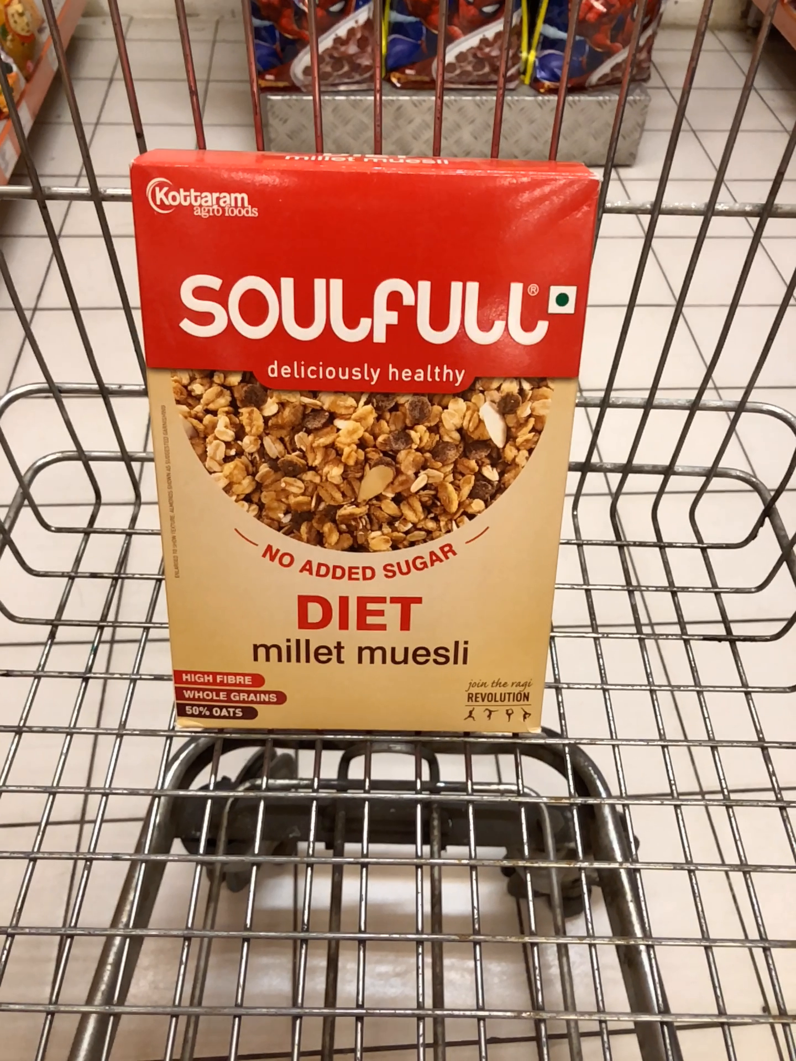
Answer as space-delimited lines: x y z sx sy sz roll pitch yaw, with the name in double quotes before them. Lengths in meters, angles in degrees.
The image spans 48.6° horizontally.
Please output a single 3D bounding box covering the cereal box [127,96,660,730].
"cereal box" -0.006 -0.035 0.361 0.170 0.249 0.050 2 27 -1
